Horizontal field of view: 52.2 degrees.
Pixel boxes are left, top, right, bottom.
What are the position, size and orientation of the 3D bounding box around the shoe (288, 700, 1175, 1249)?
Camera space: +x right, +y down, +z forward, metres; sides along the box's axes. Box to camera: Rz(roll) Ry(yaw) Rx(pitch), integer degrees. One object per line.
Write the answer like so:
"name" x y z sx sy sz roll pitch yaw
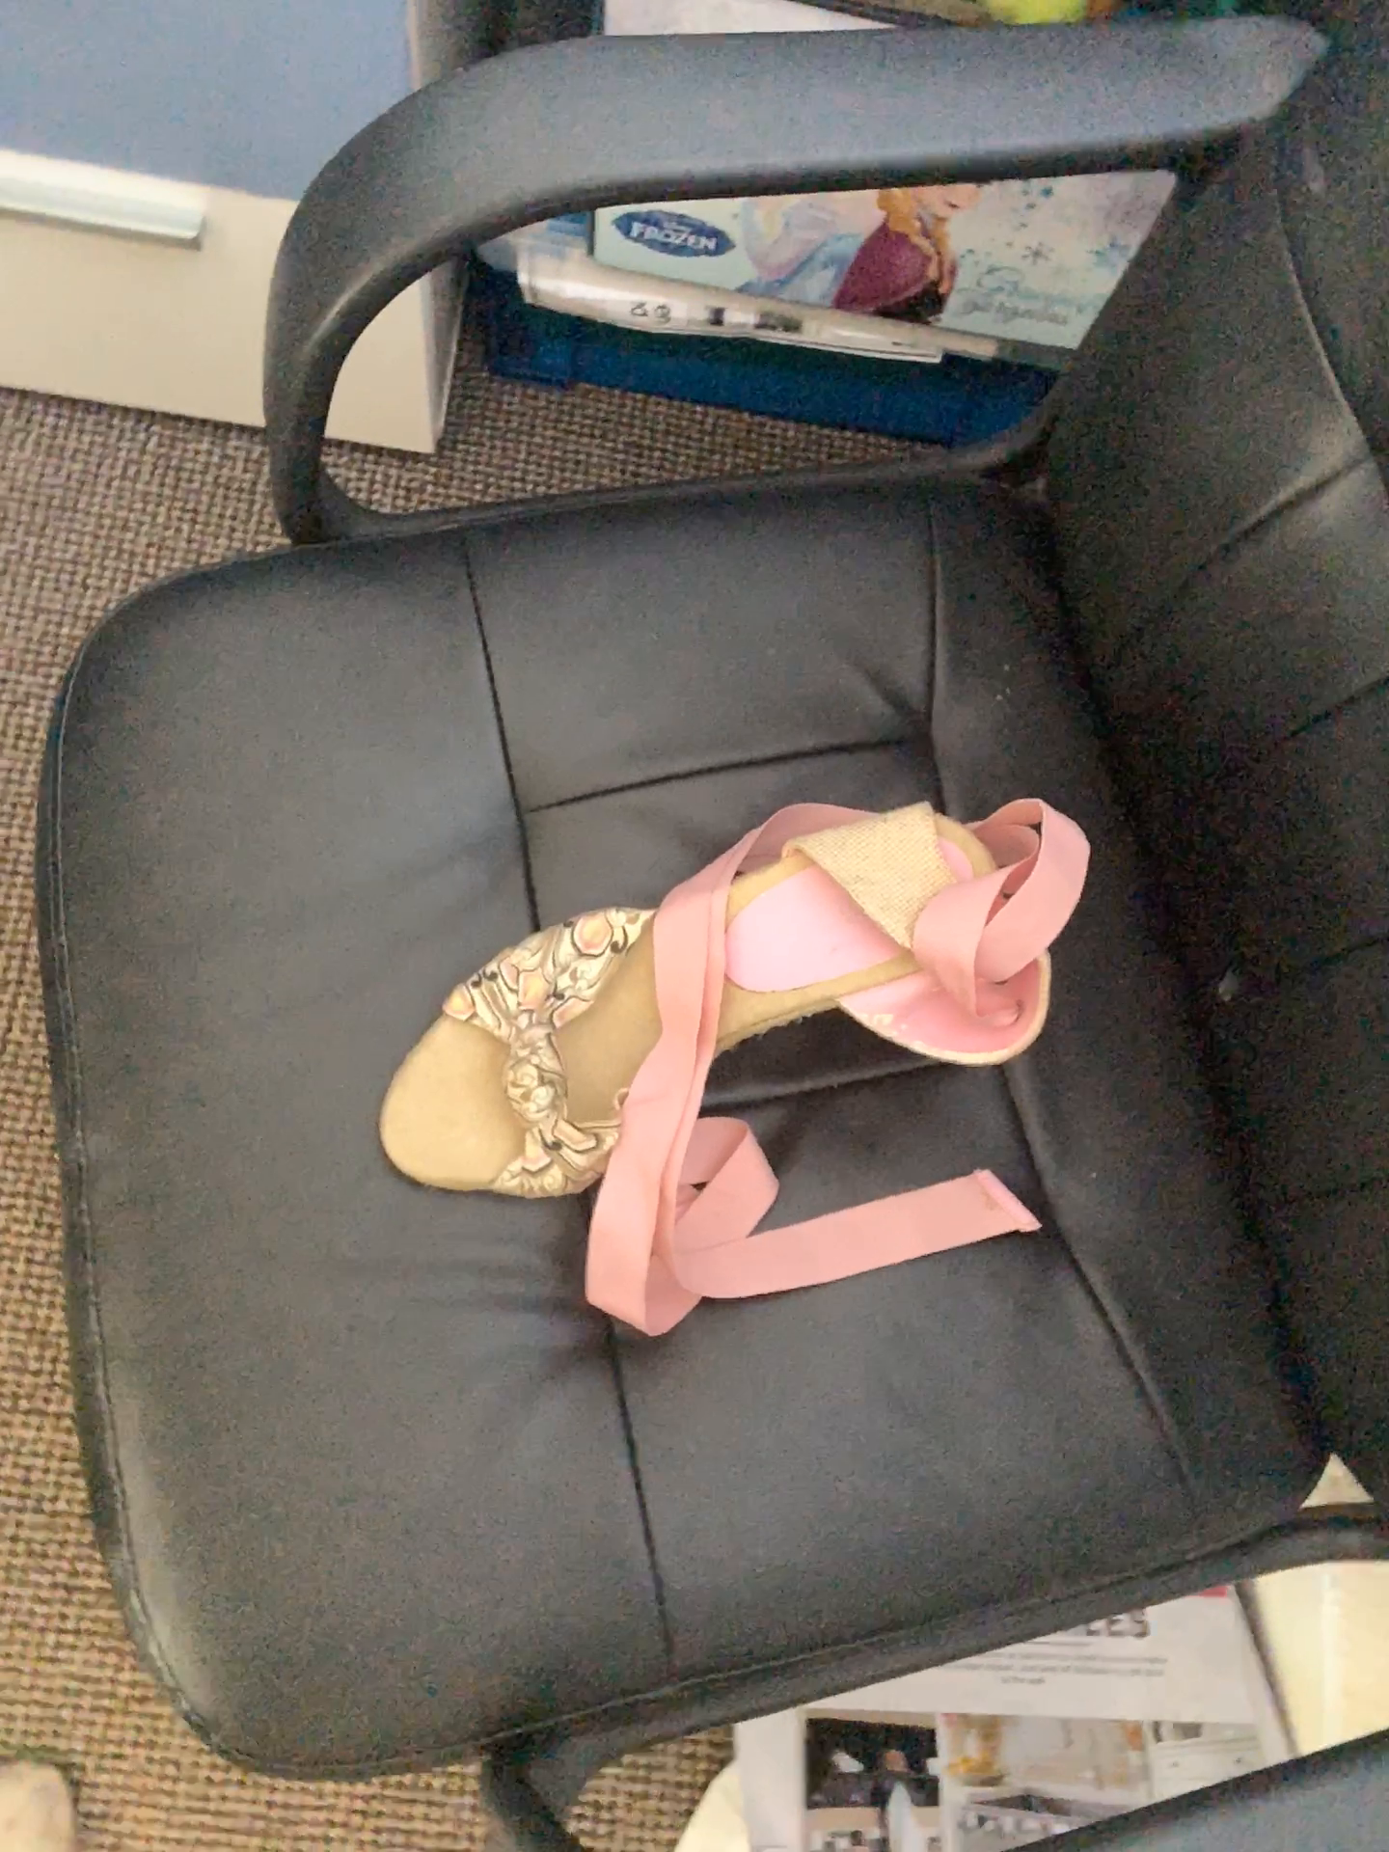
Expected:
"shoe" 0.009 0.024 0.523 0.270 0.140 0.100 -17 79 -11
